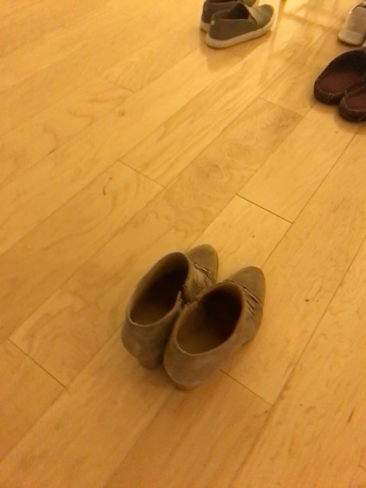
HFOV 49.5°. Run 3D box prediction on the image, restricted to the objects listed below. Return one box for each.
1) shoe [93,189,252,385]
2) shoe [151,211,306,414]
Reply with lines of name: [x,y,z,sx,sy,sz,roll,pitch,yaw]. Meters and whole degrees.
shoe: [-0.006,0.055,0.594,0.110,0.109,0.251,25,57,15]
shoe: [0.069,0.091,0.579,0.110,0.109,0.251,26,57,15]
